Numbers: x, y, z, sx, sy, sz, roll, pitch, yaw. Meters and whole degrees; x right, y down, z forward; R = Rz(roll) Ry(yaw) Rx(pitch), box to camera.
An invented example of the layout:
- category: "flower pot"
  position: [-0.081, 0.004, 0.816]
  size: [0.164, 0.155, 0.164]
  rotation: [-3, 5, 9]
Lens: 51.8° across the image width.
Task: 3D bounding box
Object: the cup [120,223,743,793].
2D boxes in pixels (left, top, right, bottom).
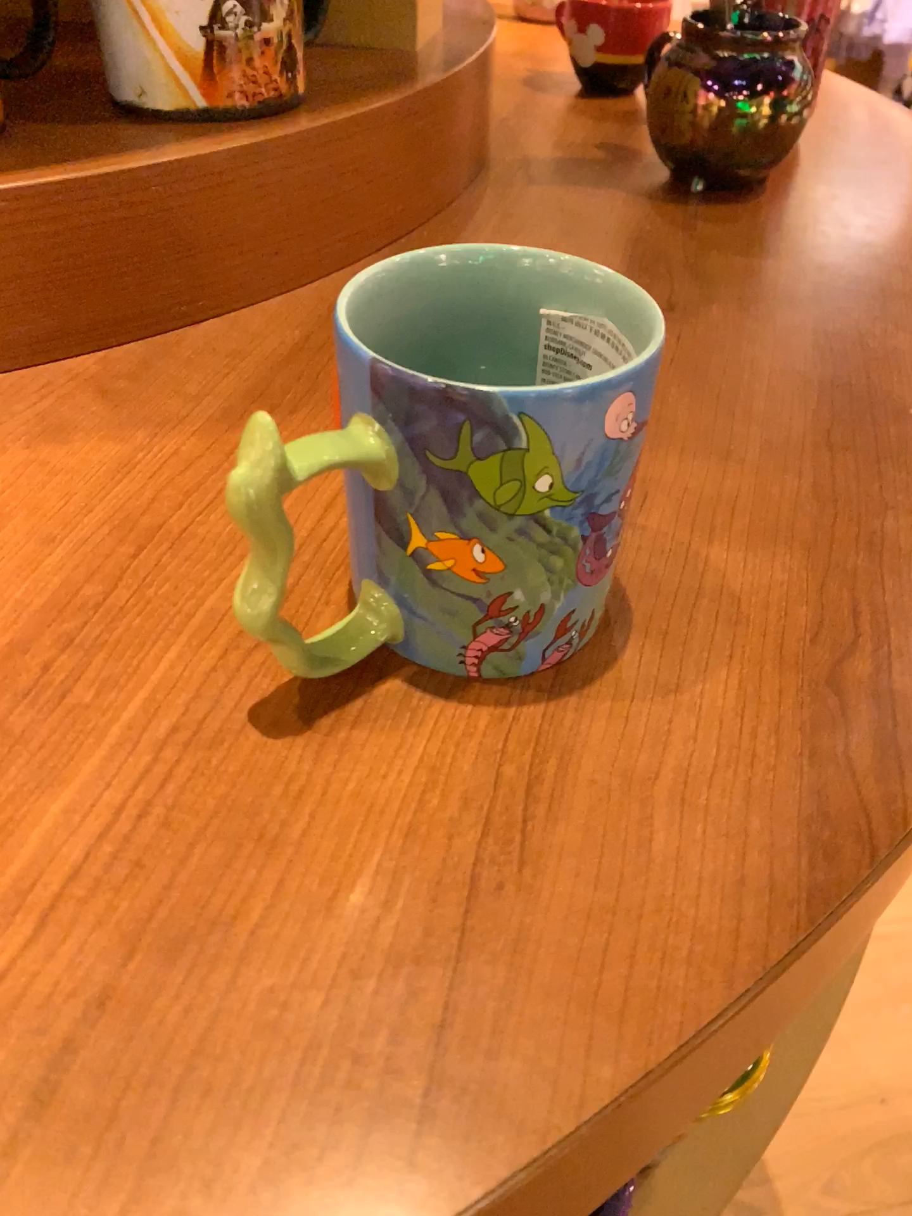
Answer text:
- category: "cup"
  position: [-0.009, -0.036, 0.277]
  size: [0.135, 0.101, 0.091]
  rotation: [-21, 48, -25]
